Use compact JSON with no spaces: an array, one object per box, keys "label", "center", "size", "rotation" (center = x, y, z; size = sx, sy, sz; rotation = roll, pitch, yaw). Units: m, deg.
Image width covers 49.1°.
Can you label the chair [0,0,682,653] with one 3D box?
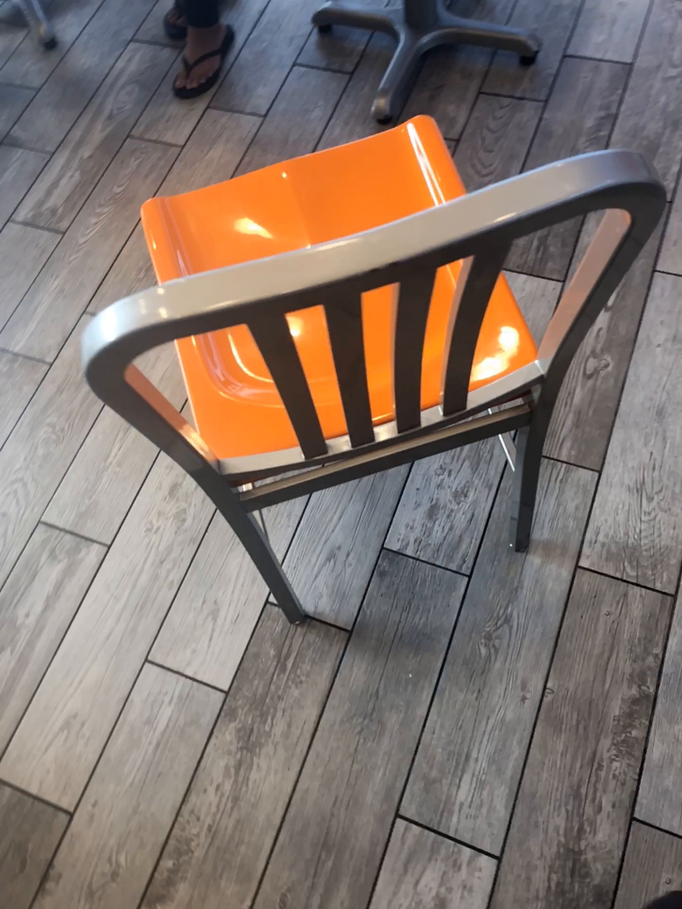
[{"label":"chair","center":[-0.036,-0.175,0.841],"size":[0.470,0.819,0.511],"rotation":[-17,63,-1]}]
